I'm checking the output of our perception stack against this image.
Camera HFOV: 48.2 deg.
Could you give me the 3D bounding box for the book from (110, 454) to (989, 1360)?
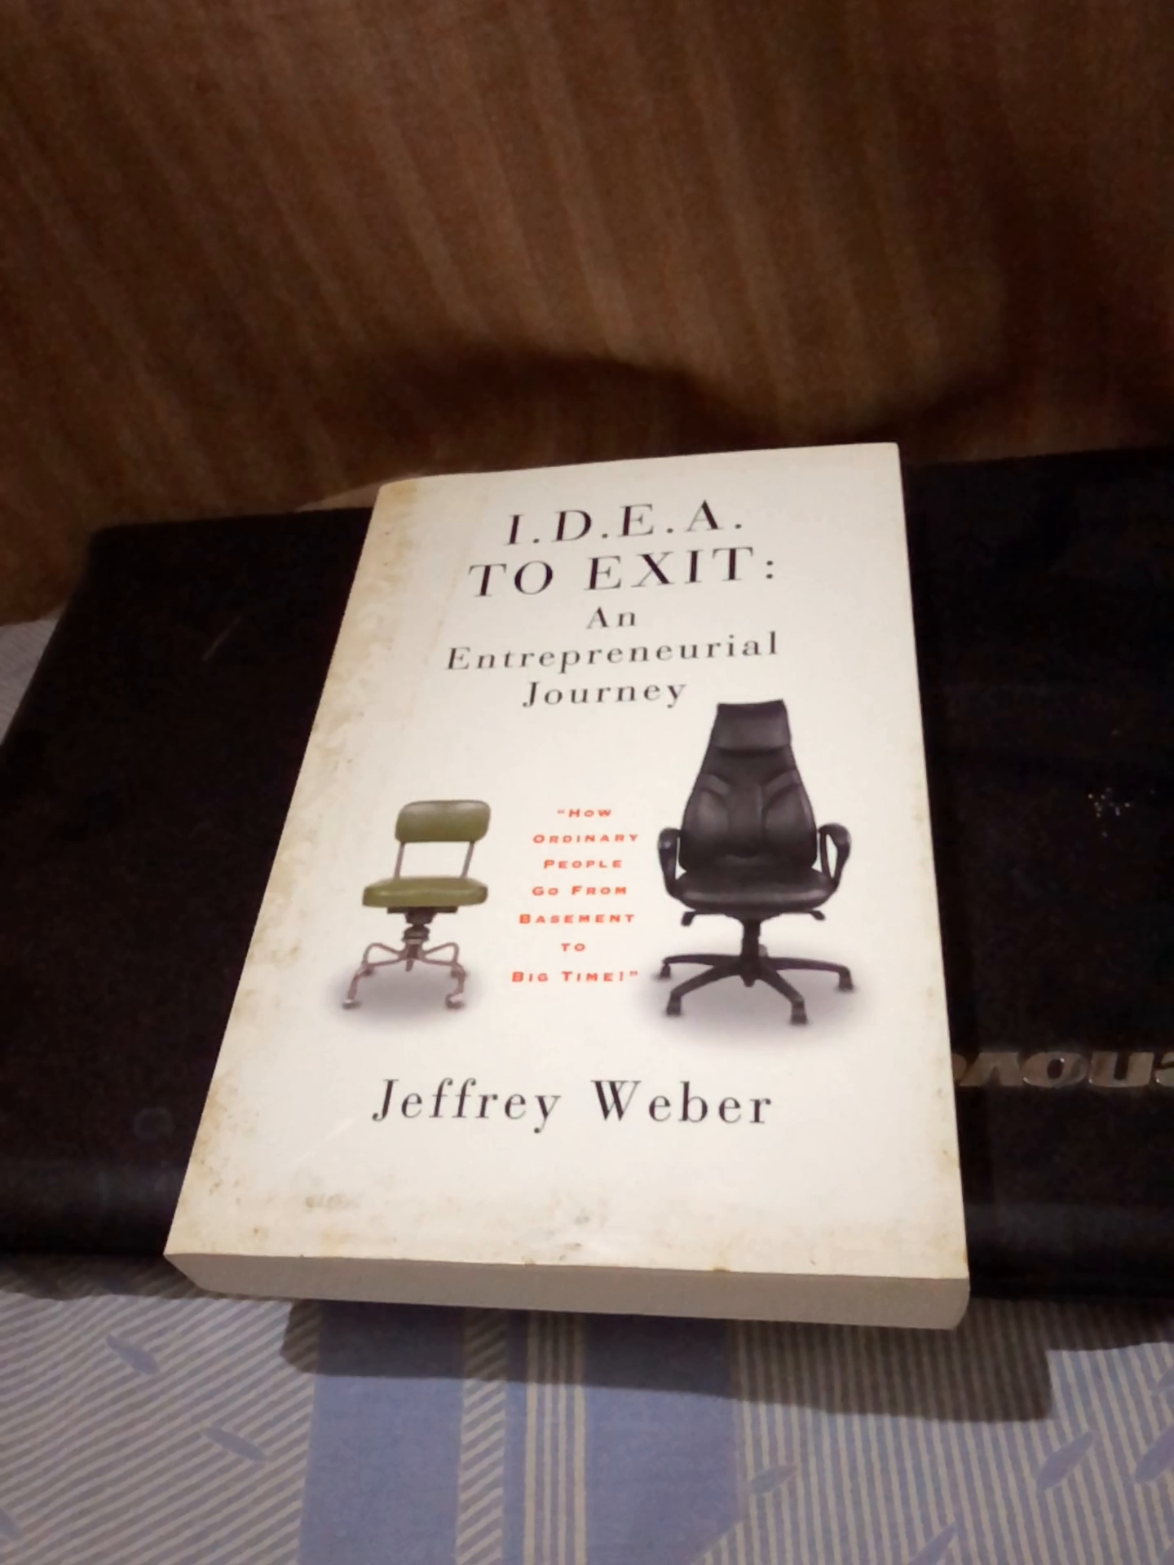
[{"bbox_3d":[0.001,0.009,0.323,0.160,0.030,0.241,-2,49,10],"label":"book"}]
